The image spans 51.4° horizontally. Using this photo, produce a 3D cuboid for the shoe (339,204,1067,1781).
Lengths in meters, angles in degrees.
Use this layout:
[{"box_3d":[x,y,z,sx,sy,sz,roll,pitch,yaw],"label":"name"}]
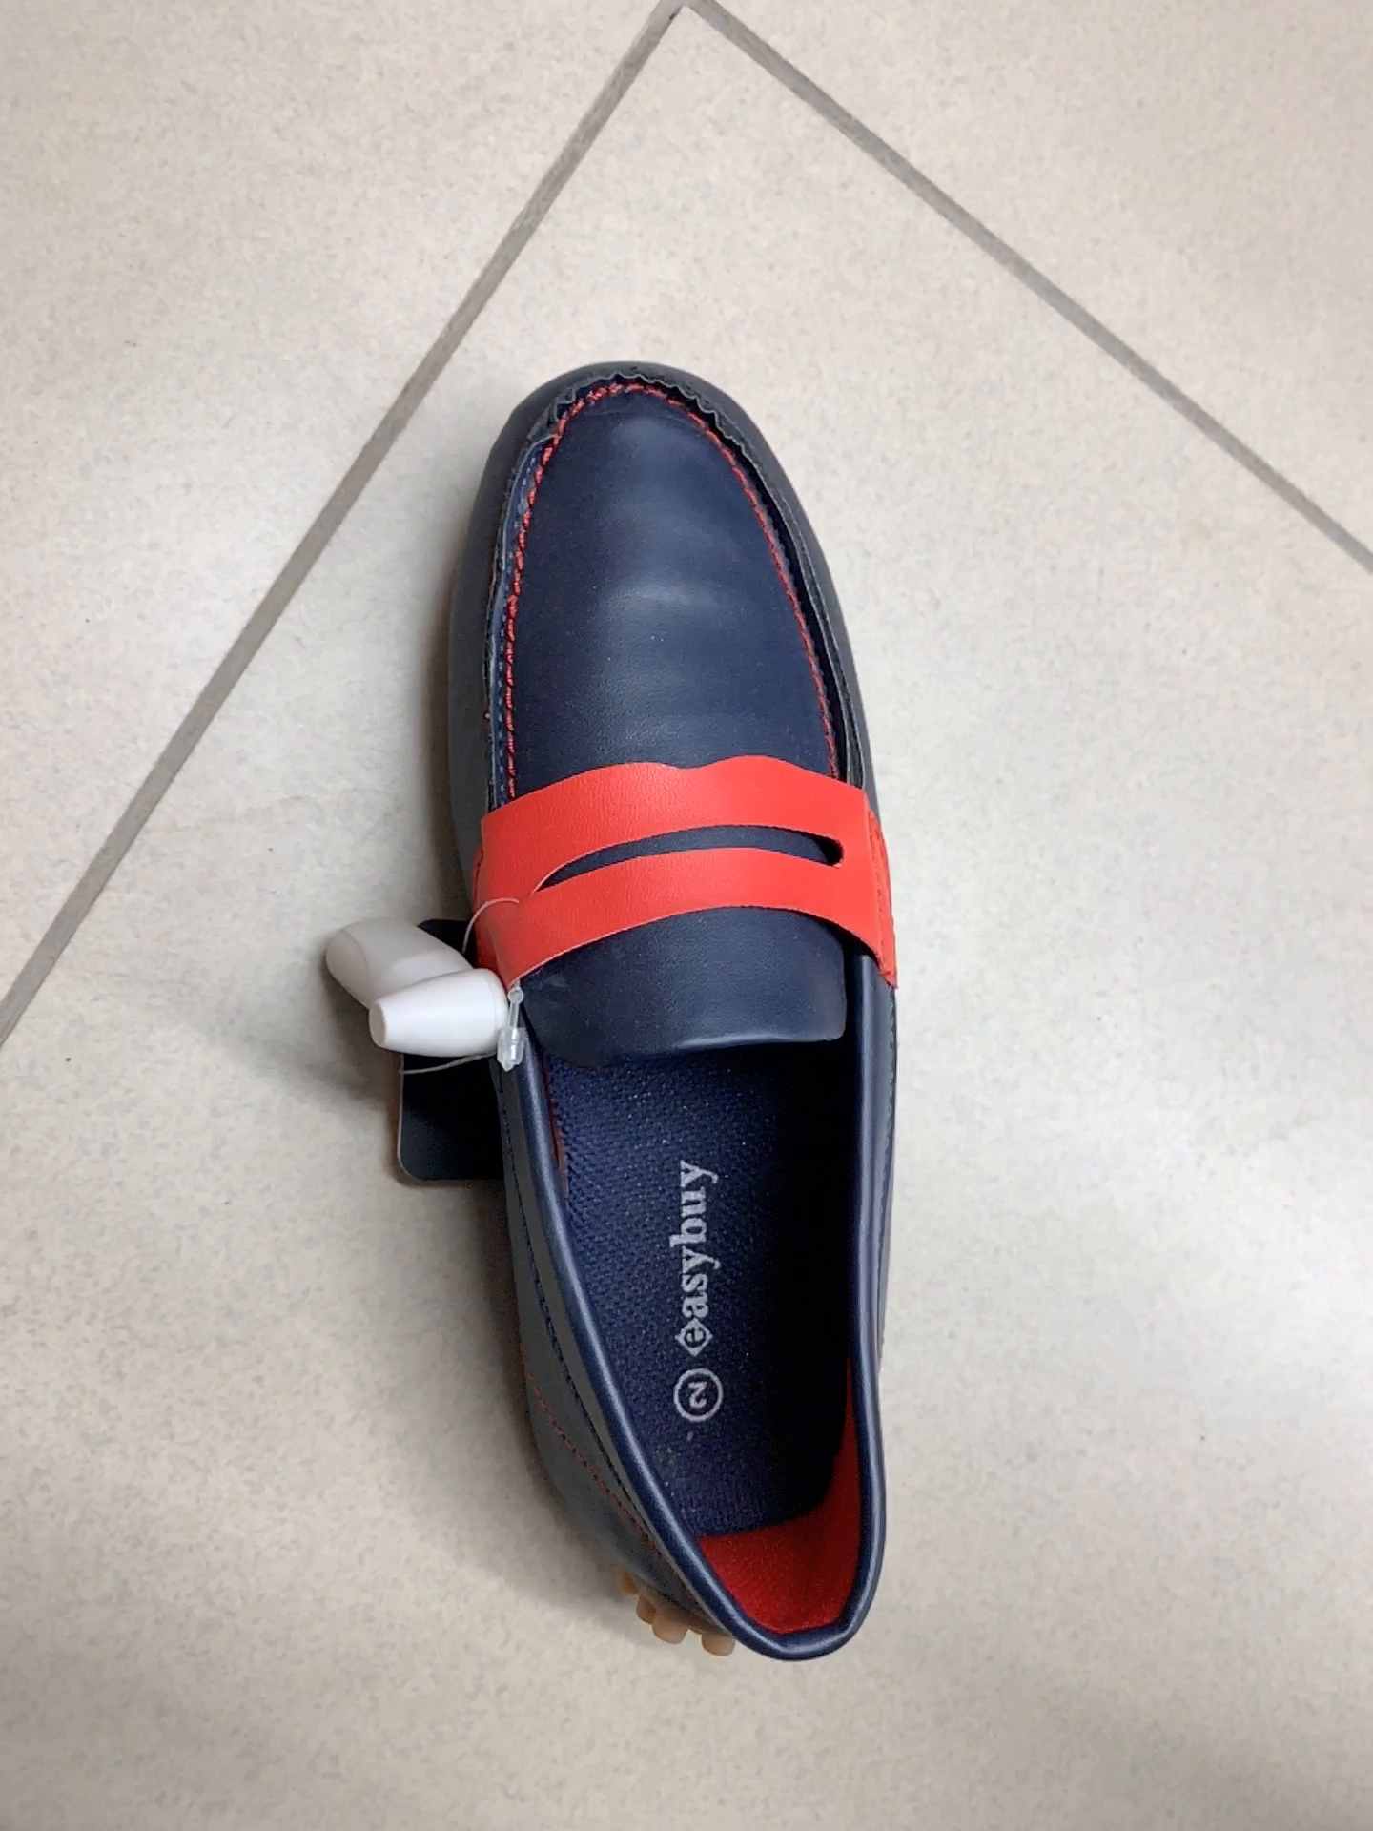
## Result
[{"box_3d":[-0.001,0.007,0.218,0.080,0.050,0.200,-5,89,-20],"label":"shoe"}]
